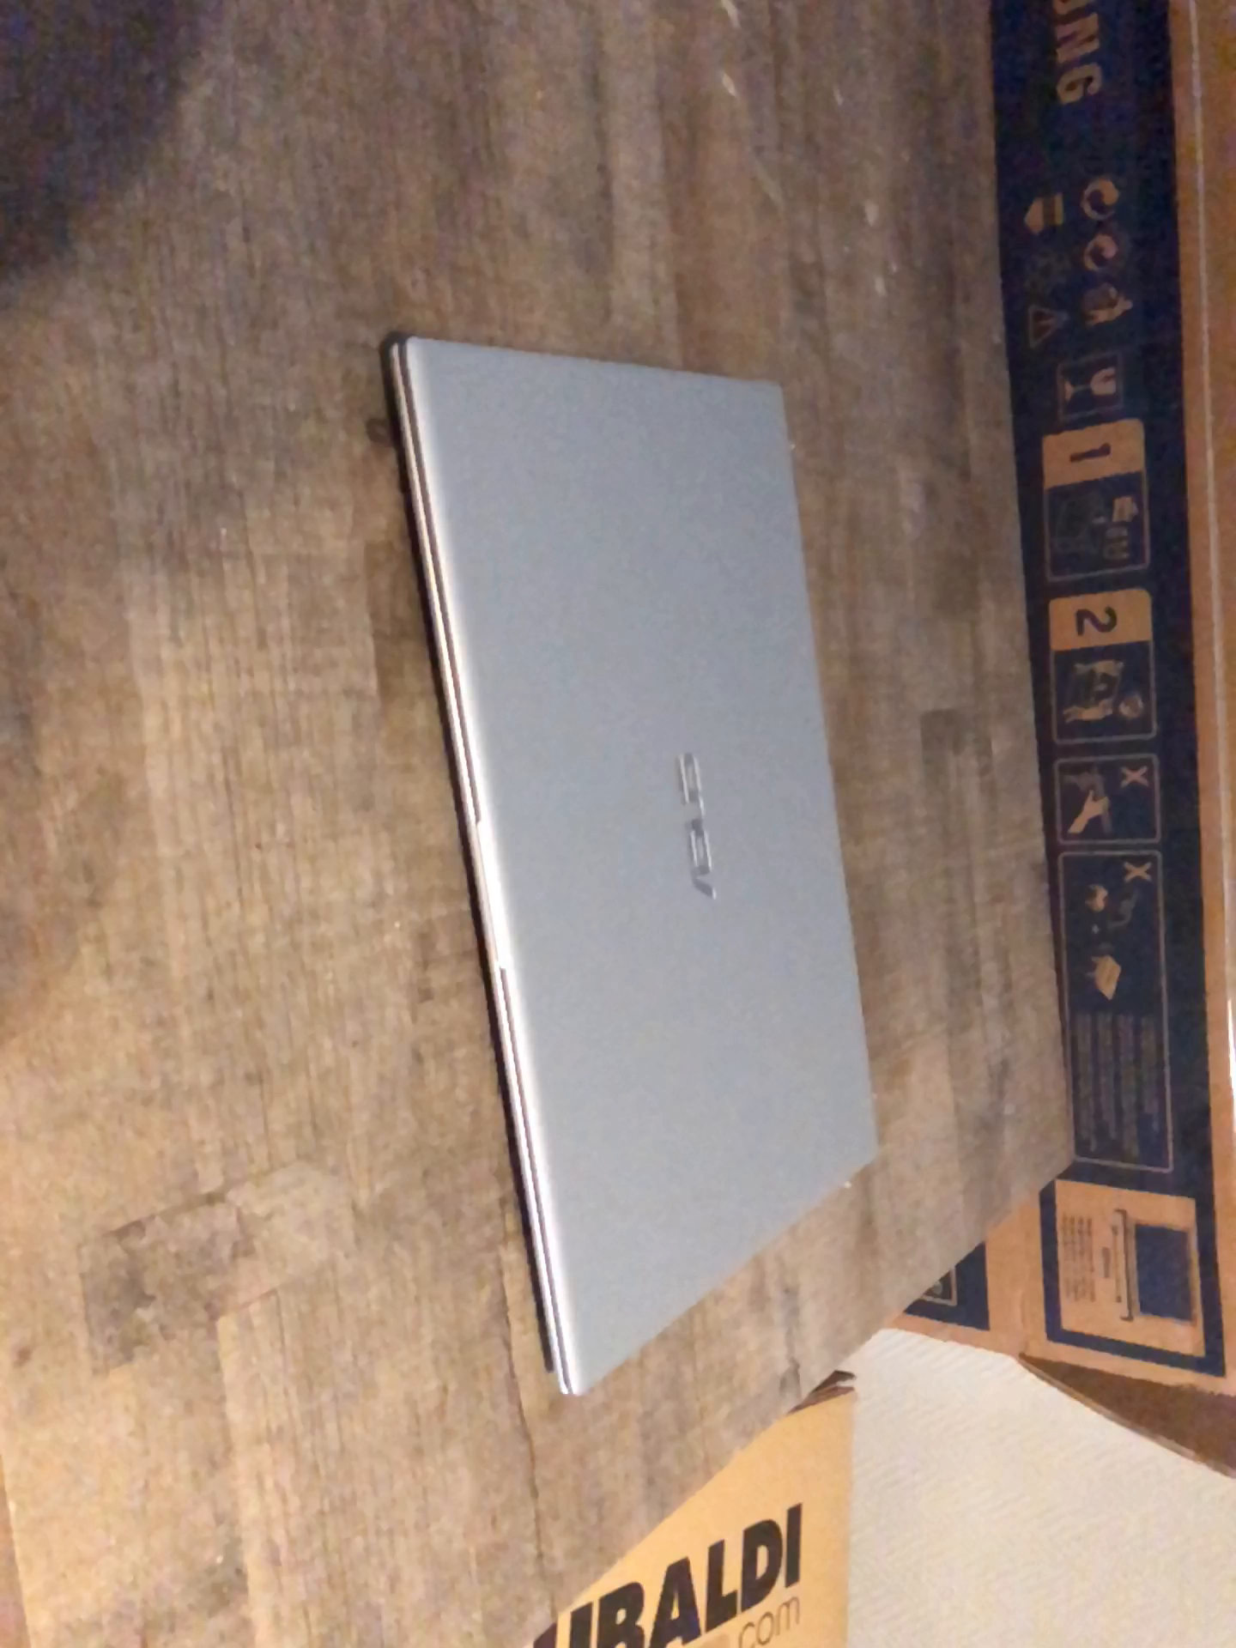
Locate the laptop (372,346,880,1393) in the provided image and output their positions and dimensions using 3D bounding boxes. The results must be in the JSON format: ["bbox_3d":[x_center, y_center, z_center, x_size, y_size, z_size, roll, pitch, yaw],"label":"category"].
[{"bbox_3d":[0.024,0.003,0.538,0.229,0.013,0.353,-18,102,-51],"label":"laptop"}]
